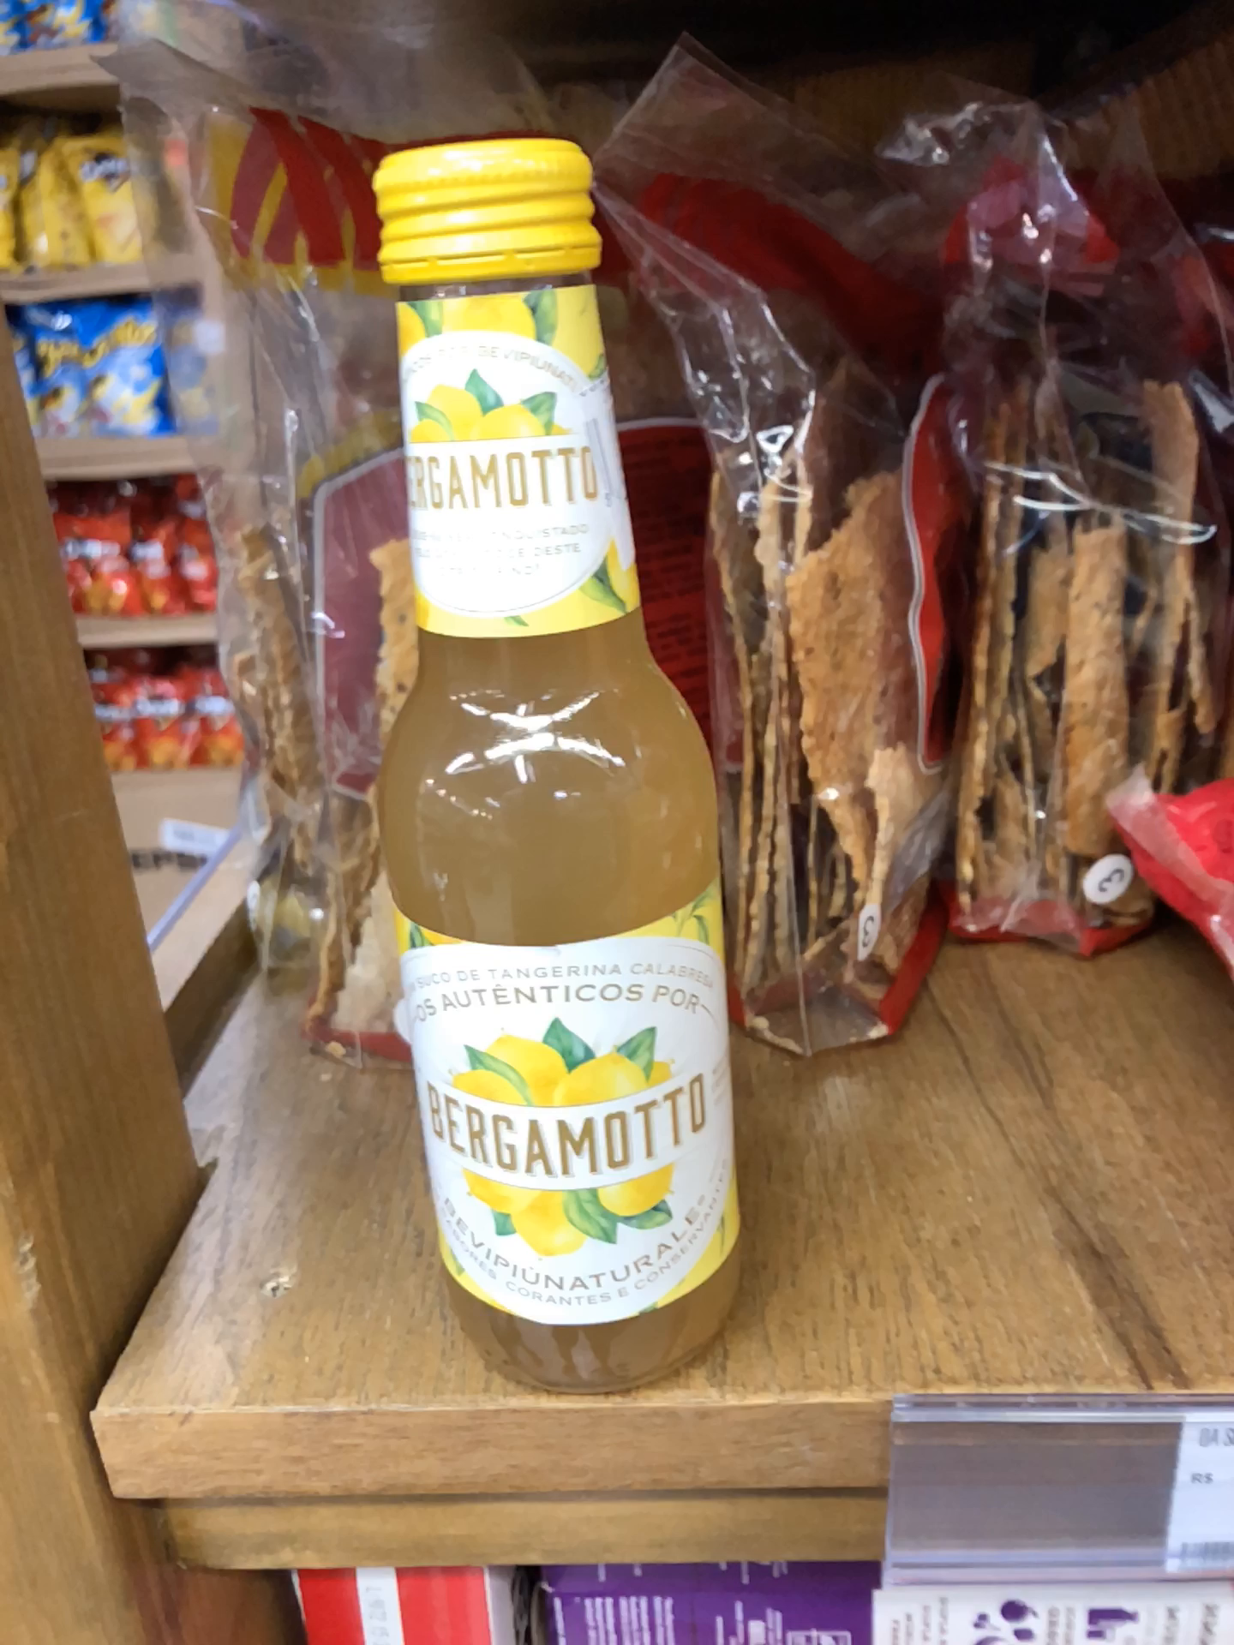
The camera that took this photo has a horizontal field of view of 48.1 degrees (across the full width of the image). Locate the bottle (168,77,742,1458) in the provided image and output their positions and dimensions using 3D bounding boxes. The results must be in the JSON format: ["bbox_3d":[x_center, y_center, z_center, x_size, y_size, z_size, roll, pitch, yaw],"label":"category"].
[{"bbox_3d":[-0.015,0.000,0.219,0.060,0.199,0.060,-3,21,1],"label":"bottle"}]
